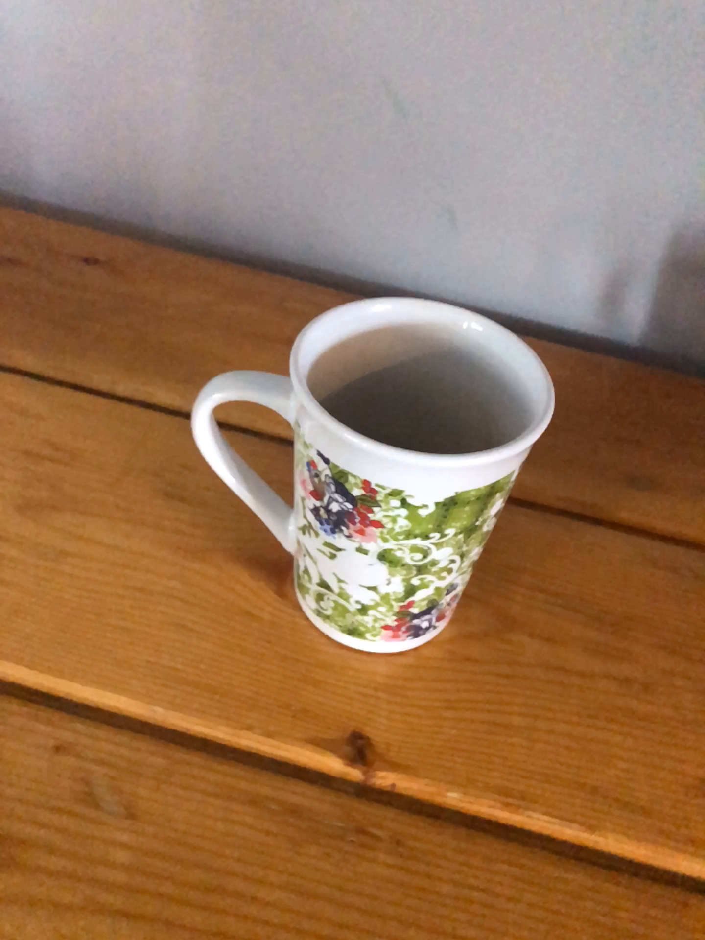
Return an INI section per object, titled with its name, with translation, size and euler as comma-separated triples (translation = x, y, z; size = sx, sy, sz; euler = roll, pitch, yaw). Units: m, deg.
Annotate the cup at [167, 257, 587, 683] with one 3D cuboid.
[cup]
translation = 0.006, 0.003, 0.313
size = 0.130, 0.120, 0.090
euler = 11, 46, 0
